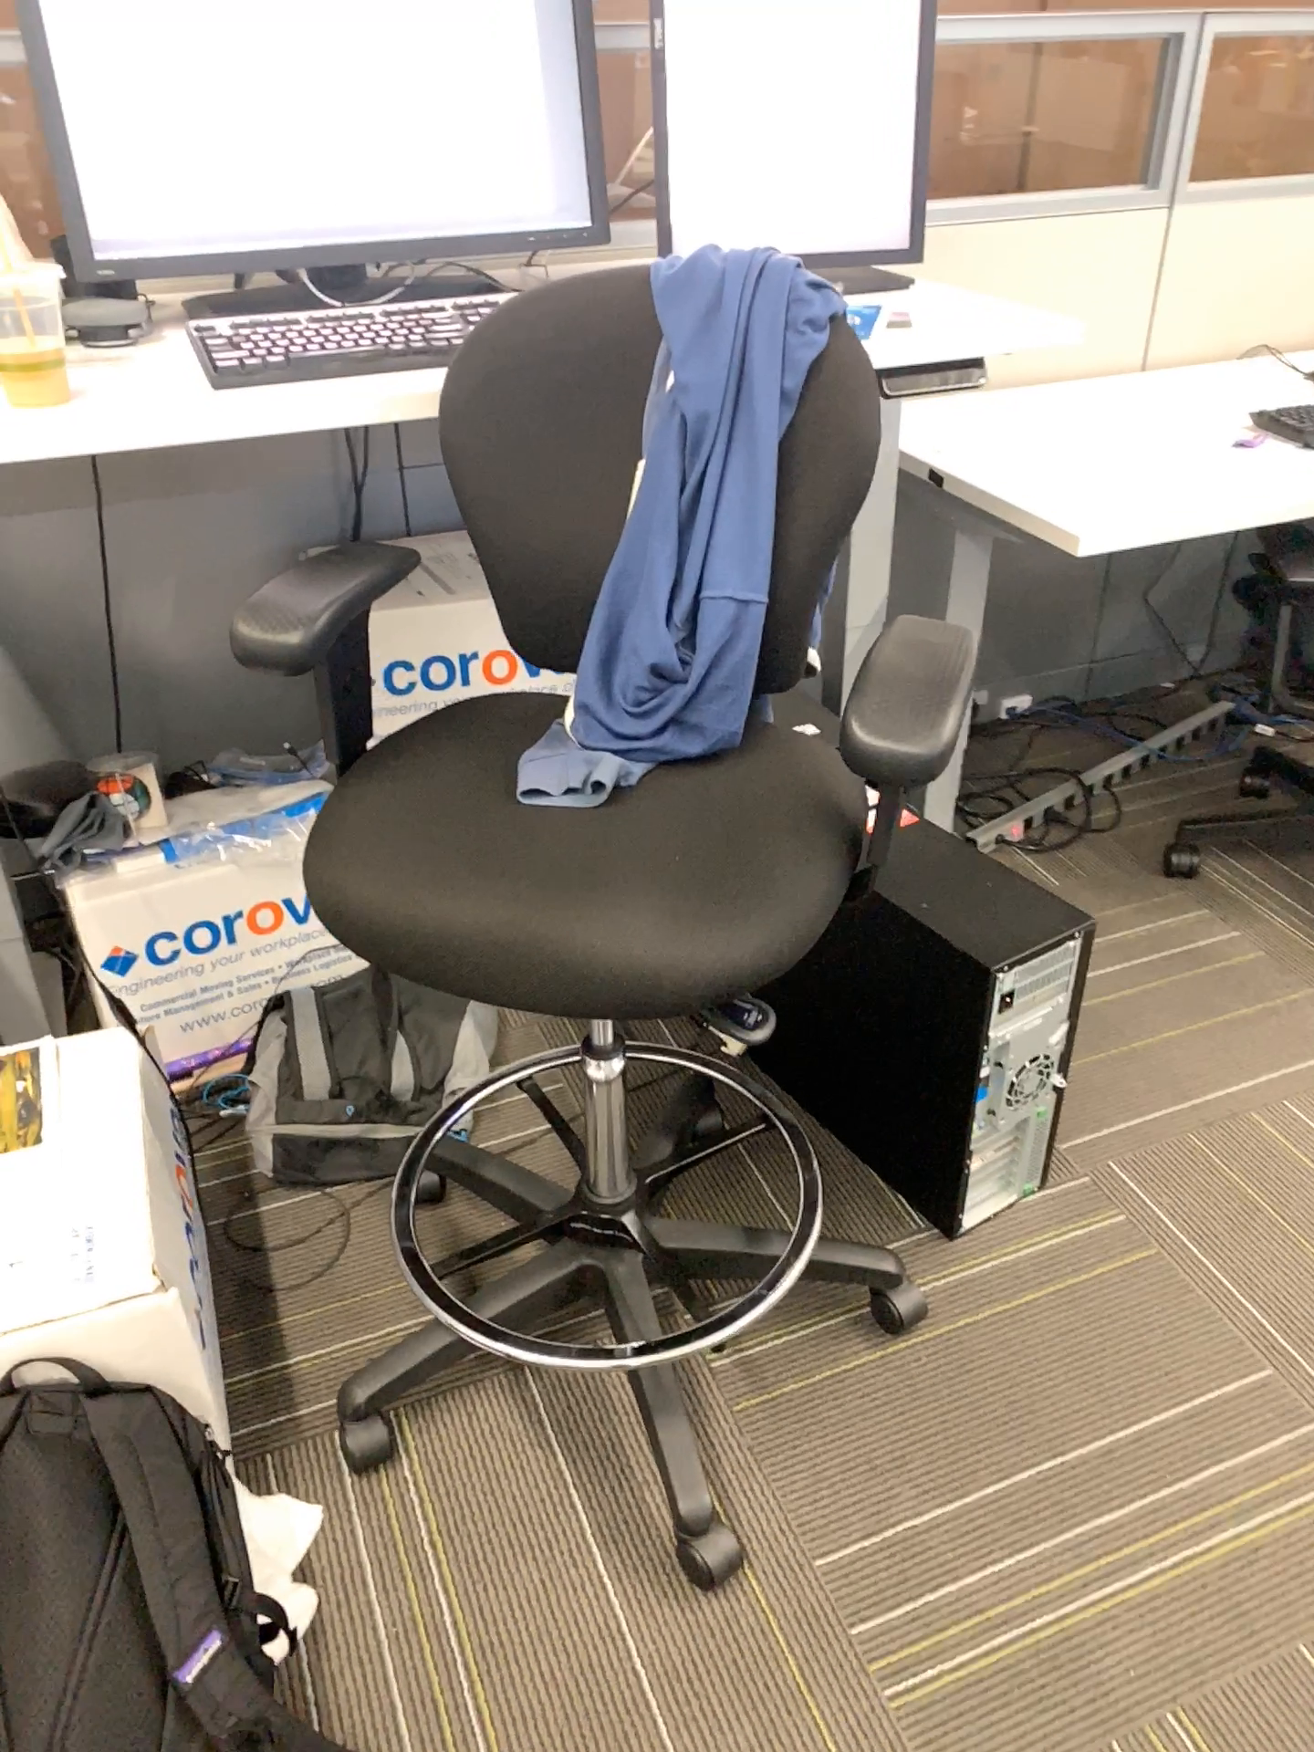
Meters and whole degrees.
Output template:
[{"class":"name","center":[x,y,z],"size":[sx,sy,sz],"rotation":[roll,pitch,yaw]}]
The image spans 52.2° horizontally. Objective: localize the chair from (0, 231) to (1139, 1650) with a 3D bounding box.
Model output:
[{"class":"chair","center":[-0.049,0.024,1.335],"size":[0.751,1.103,0.744],"rotation":[6,33,10]}]
